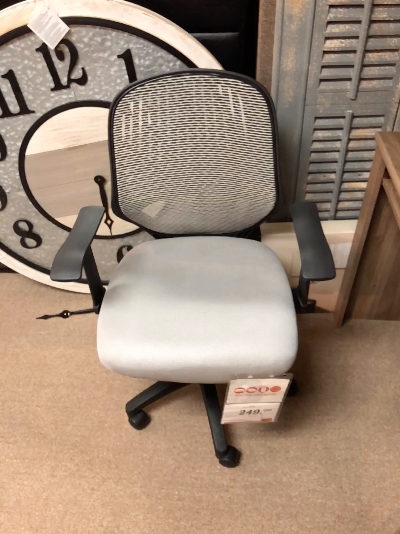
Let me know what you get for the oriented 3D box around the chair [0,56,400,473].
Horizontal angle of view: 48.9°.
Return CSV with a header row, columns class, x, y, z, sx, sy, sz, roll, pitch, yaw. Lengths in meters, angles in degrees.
class,x,y,z,sx,sy,sz,roll,pitch,yaw
chair,0.006,0.016,1.170,0.610,0.865,0.674,-2,43,1
